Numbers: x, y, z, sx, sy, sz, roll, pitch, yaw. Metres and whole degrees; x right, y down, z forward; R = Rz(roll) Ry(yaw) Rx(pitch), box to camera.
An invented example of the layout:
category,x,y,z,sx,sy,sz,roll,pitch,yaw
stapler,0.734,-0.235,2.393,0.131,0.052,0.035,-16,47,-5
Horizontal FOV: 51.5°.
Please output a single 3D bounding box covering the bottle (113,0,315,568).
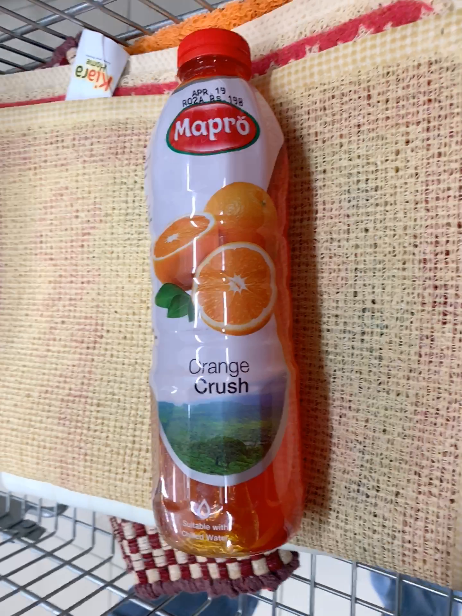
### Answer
category,x,y,z,sx,sy,sz,roll,pitch,yaw
bottle,-0.004,-0.019,0.226,0.080,0.070,0.240,0,89,6
